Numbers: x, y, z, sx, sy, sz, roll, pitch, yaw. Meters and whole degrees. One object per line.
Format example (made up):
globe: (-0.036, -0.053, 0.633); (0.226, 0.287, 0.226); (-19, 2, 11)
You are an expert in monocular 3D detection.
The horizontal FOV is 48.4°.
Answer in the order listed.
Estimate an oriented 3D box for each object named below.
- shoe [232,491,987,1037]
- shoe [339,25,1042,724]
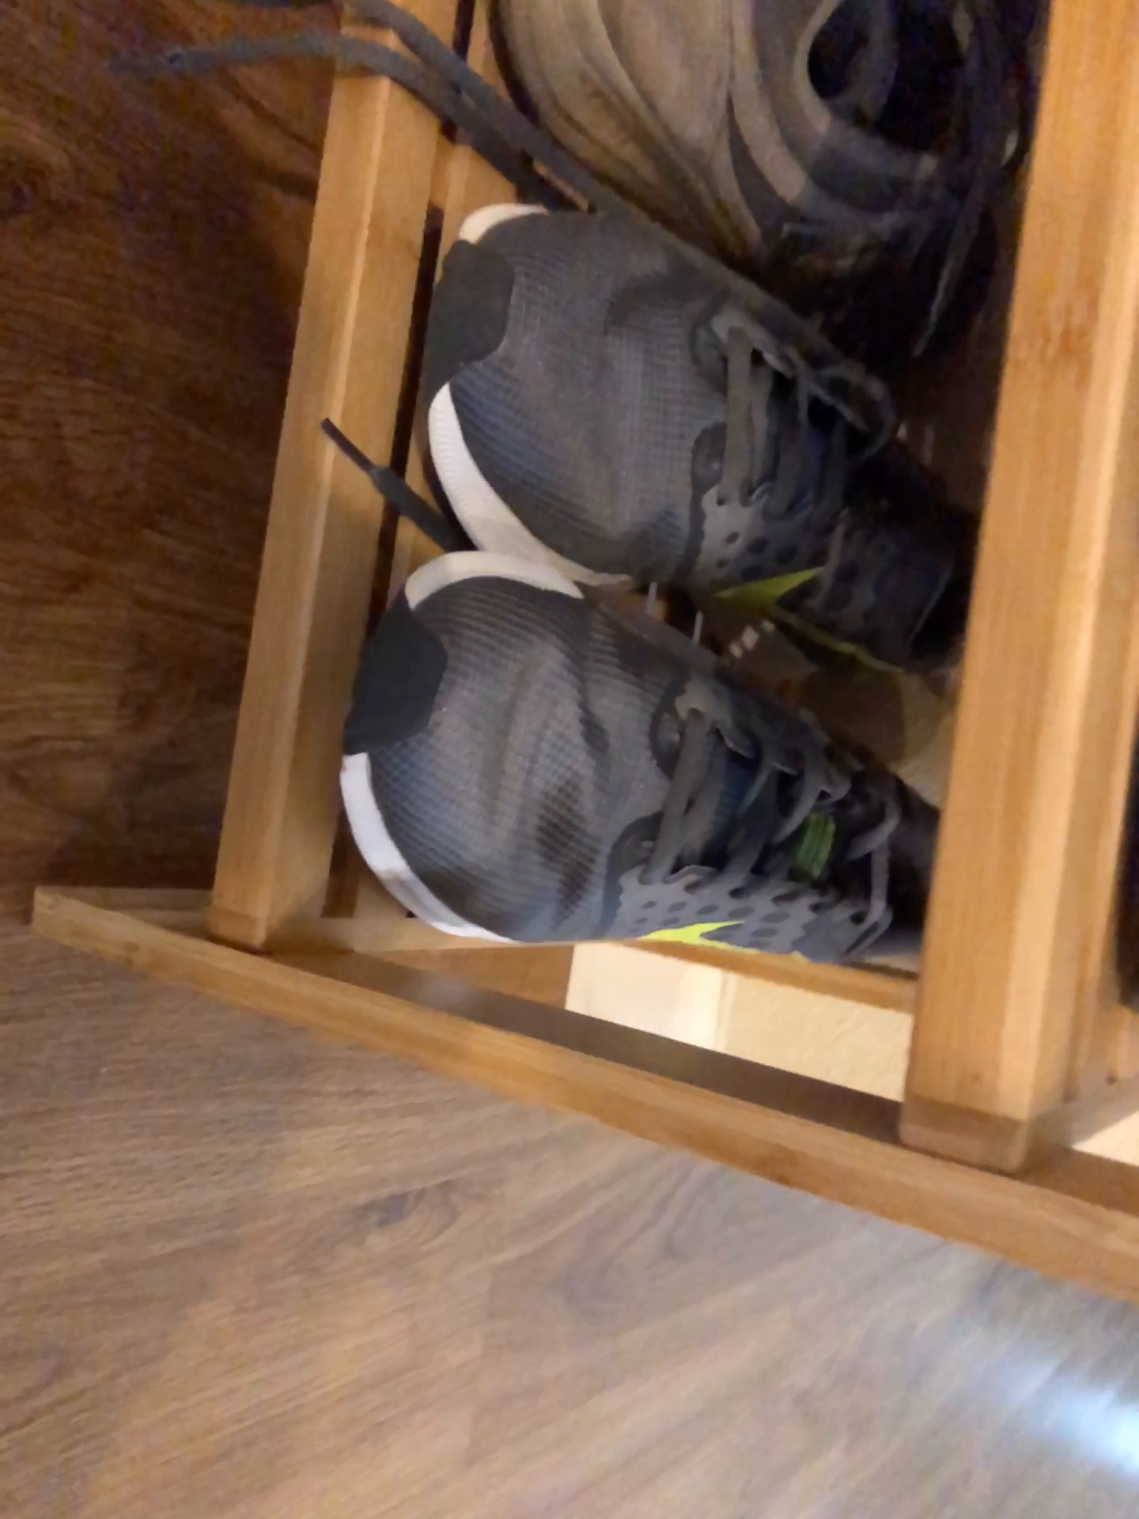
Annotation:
shoe: (0.045, 0.017, 0.421); (0.312, 0.070, 0.120); (12, 86, -53)
shoe: (0.070, -0.092, 0.425); (0.312, 0.070, 0.110); (12, 86, -53)
